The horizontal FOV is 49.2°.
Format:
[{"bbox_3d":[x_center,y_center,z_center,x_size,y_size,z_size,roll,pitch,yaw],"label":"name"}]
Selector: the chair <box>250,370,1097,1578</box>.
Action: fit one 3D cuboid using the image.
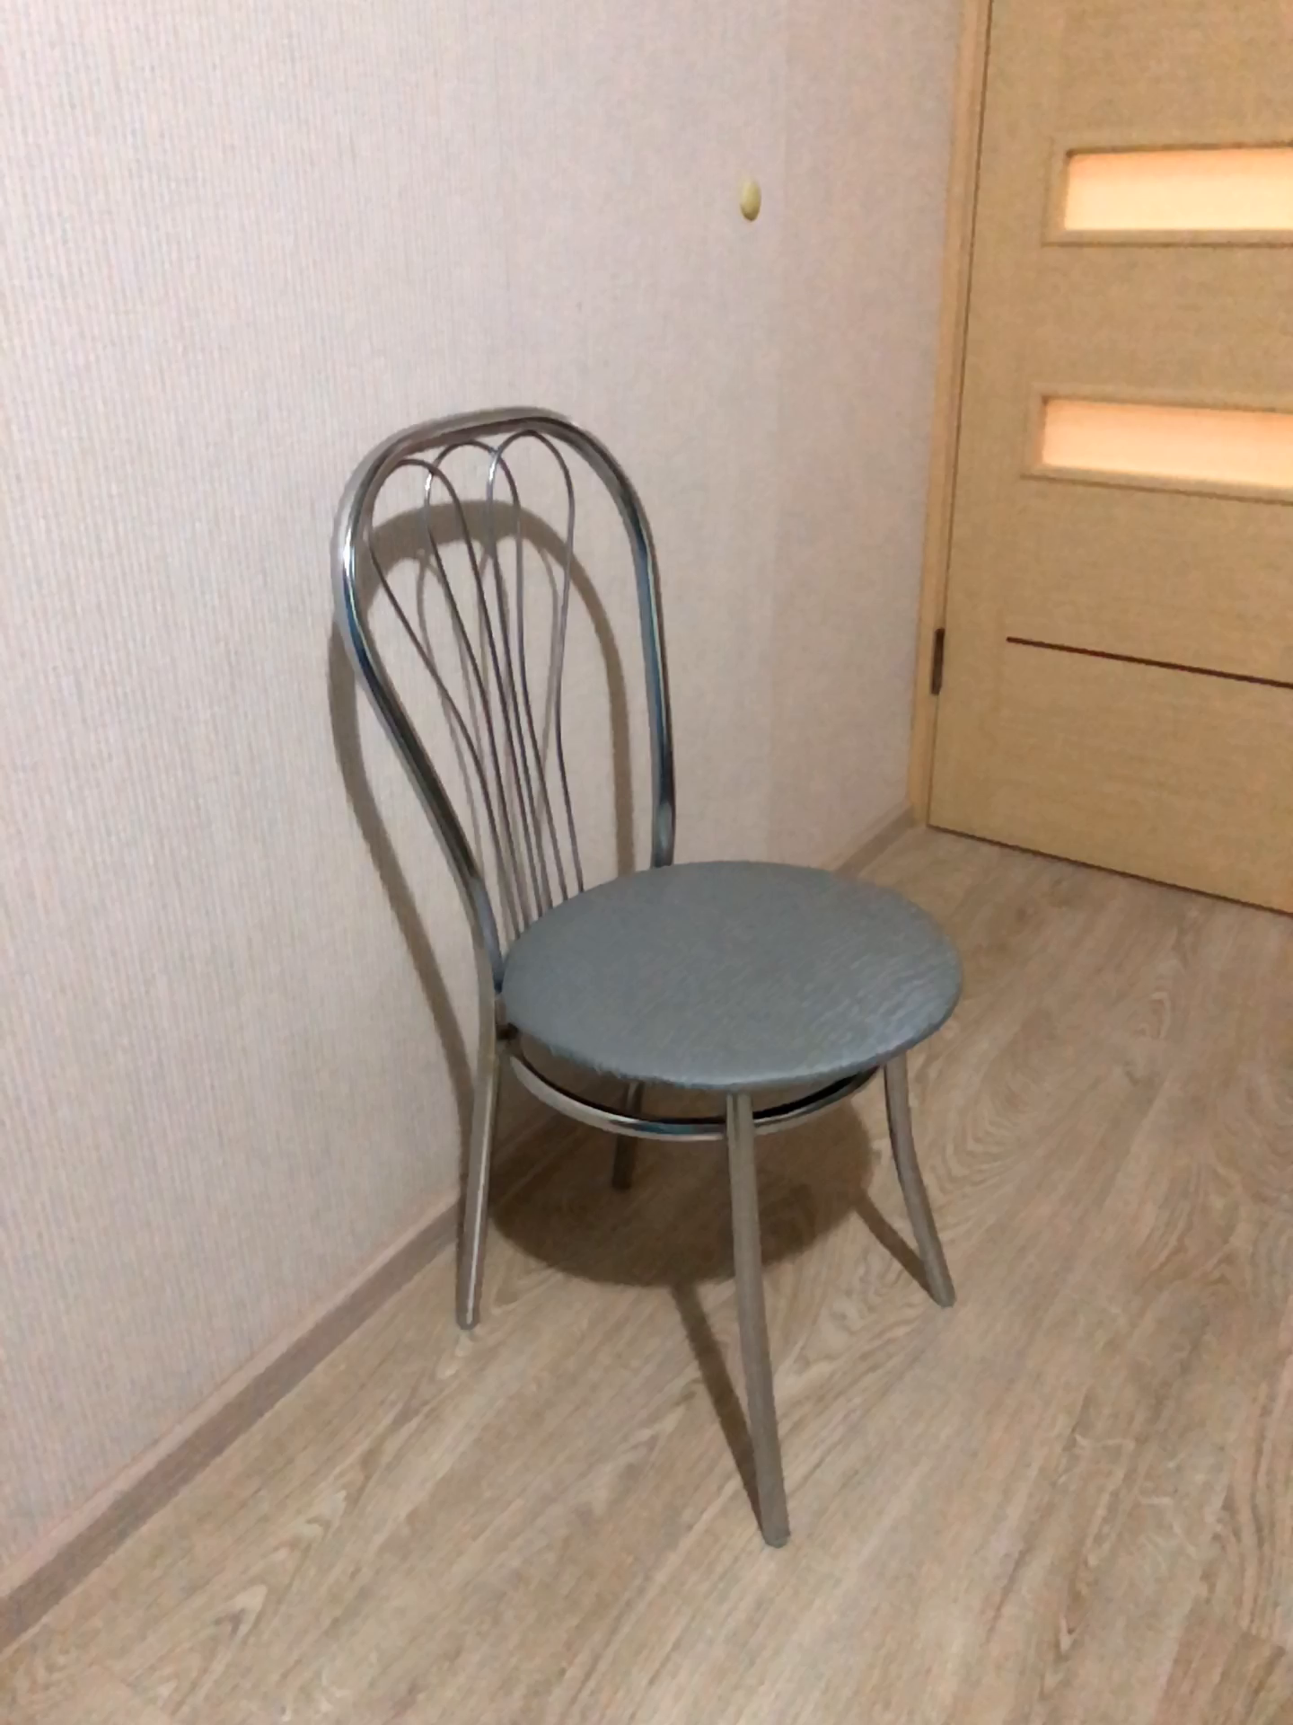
[{"bbox_3d":[0.033,0.049,1.194,0.471,0.825,0.402,16,29,33],"label":"chair"}]
